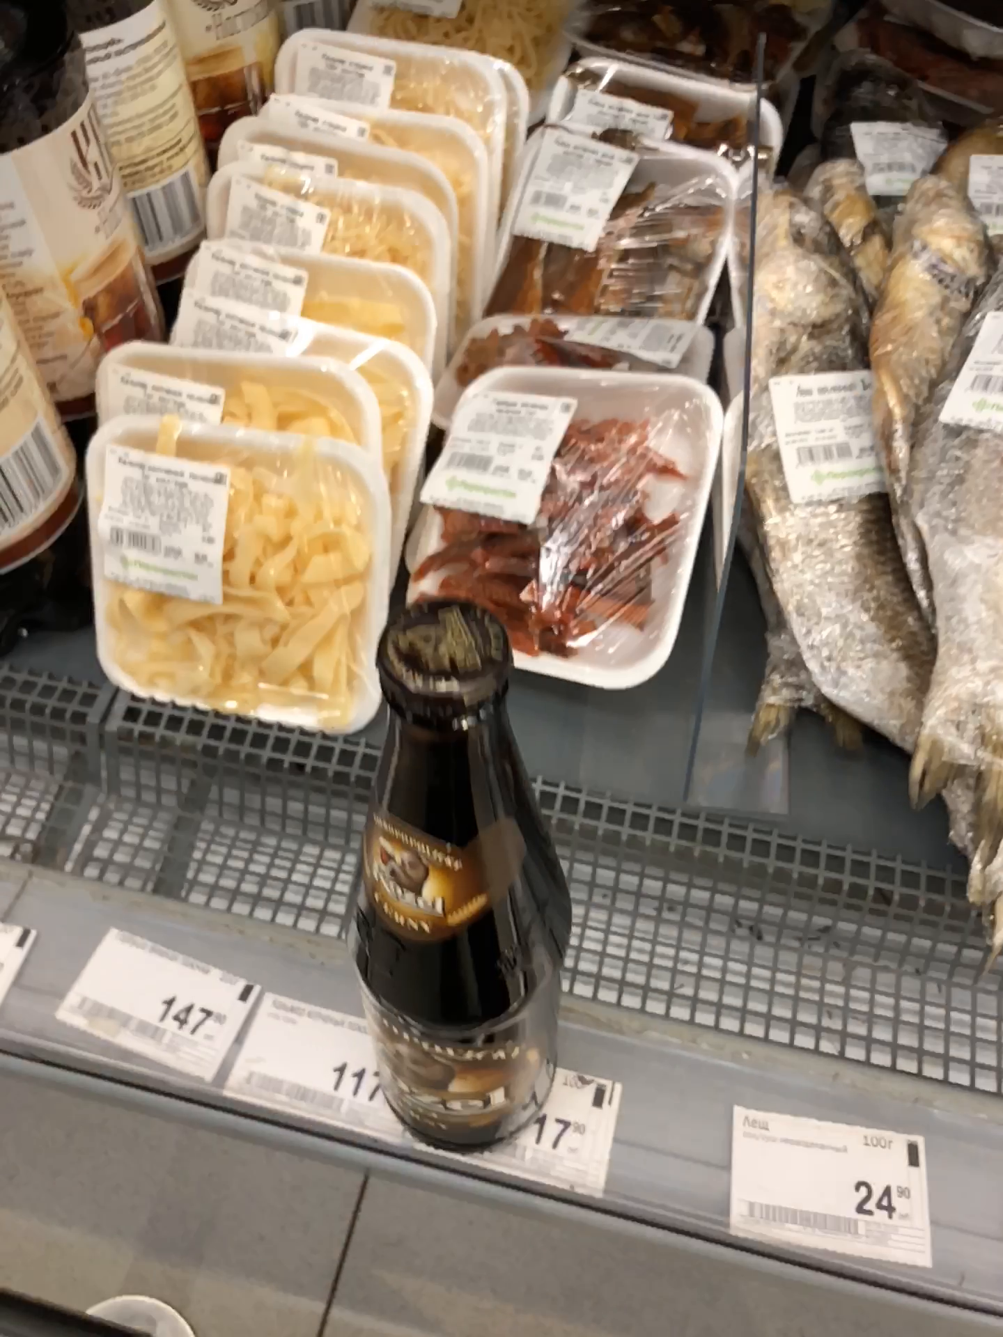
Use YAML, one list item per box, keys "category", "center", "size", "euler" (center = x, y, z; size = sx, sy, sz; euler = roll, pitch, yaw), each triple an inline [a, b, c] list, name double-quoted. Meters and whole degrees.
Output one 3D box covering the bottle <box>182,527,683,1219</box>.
- category: "bottle"
  center: [-0.012, 0.077, 0.307]
  size: [0.070, 0.232, 0.070]
  euler: [0, 53, 0]
